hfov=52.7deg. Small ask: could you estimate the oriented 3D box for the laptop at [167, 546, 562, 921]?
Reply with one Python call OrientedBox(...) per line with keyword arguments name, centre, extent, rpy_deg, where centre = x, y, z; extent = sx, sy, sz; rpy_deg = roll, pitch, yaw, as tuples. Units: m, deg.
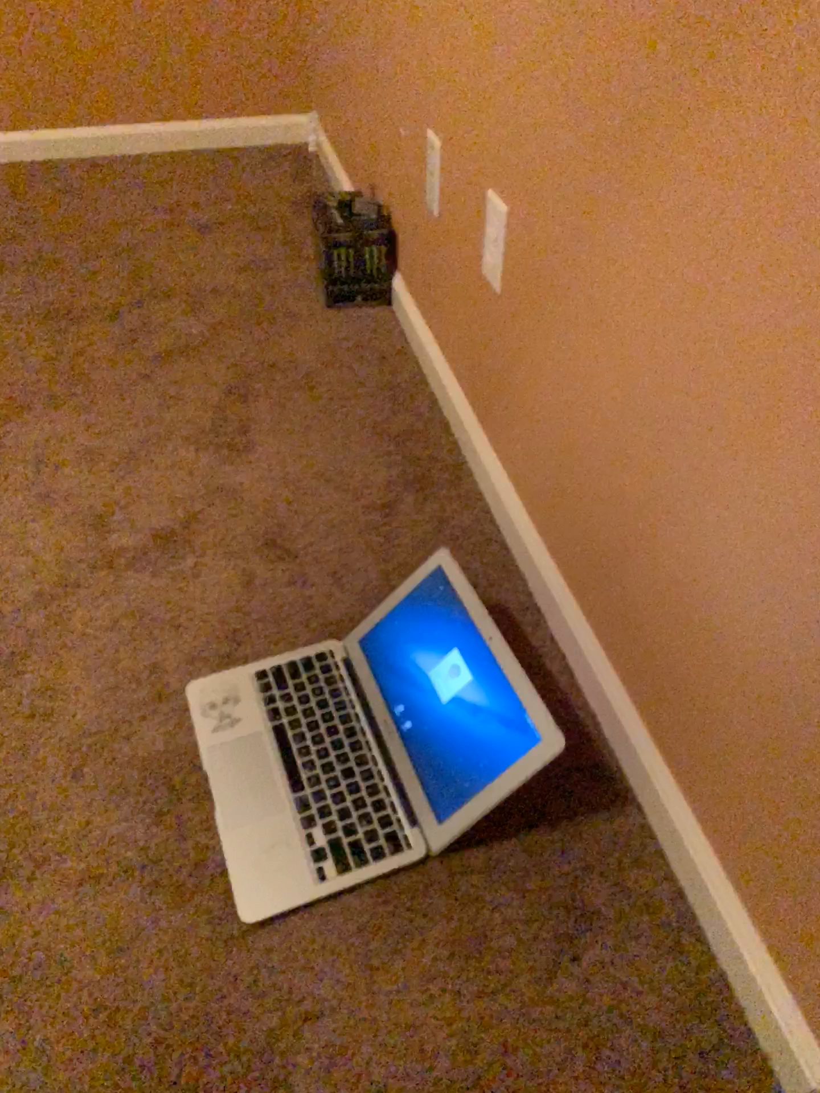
OrientedBox(name="laptop", centre=(-0.060, 0.176, 0.884), extent=(0.324, 0.116, 0.300), rpy_deg=(-14, 45, -15))
